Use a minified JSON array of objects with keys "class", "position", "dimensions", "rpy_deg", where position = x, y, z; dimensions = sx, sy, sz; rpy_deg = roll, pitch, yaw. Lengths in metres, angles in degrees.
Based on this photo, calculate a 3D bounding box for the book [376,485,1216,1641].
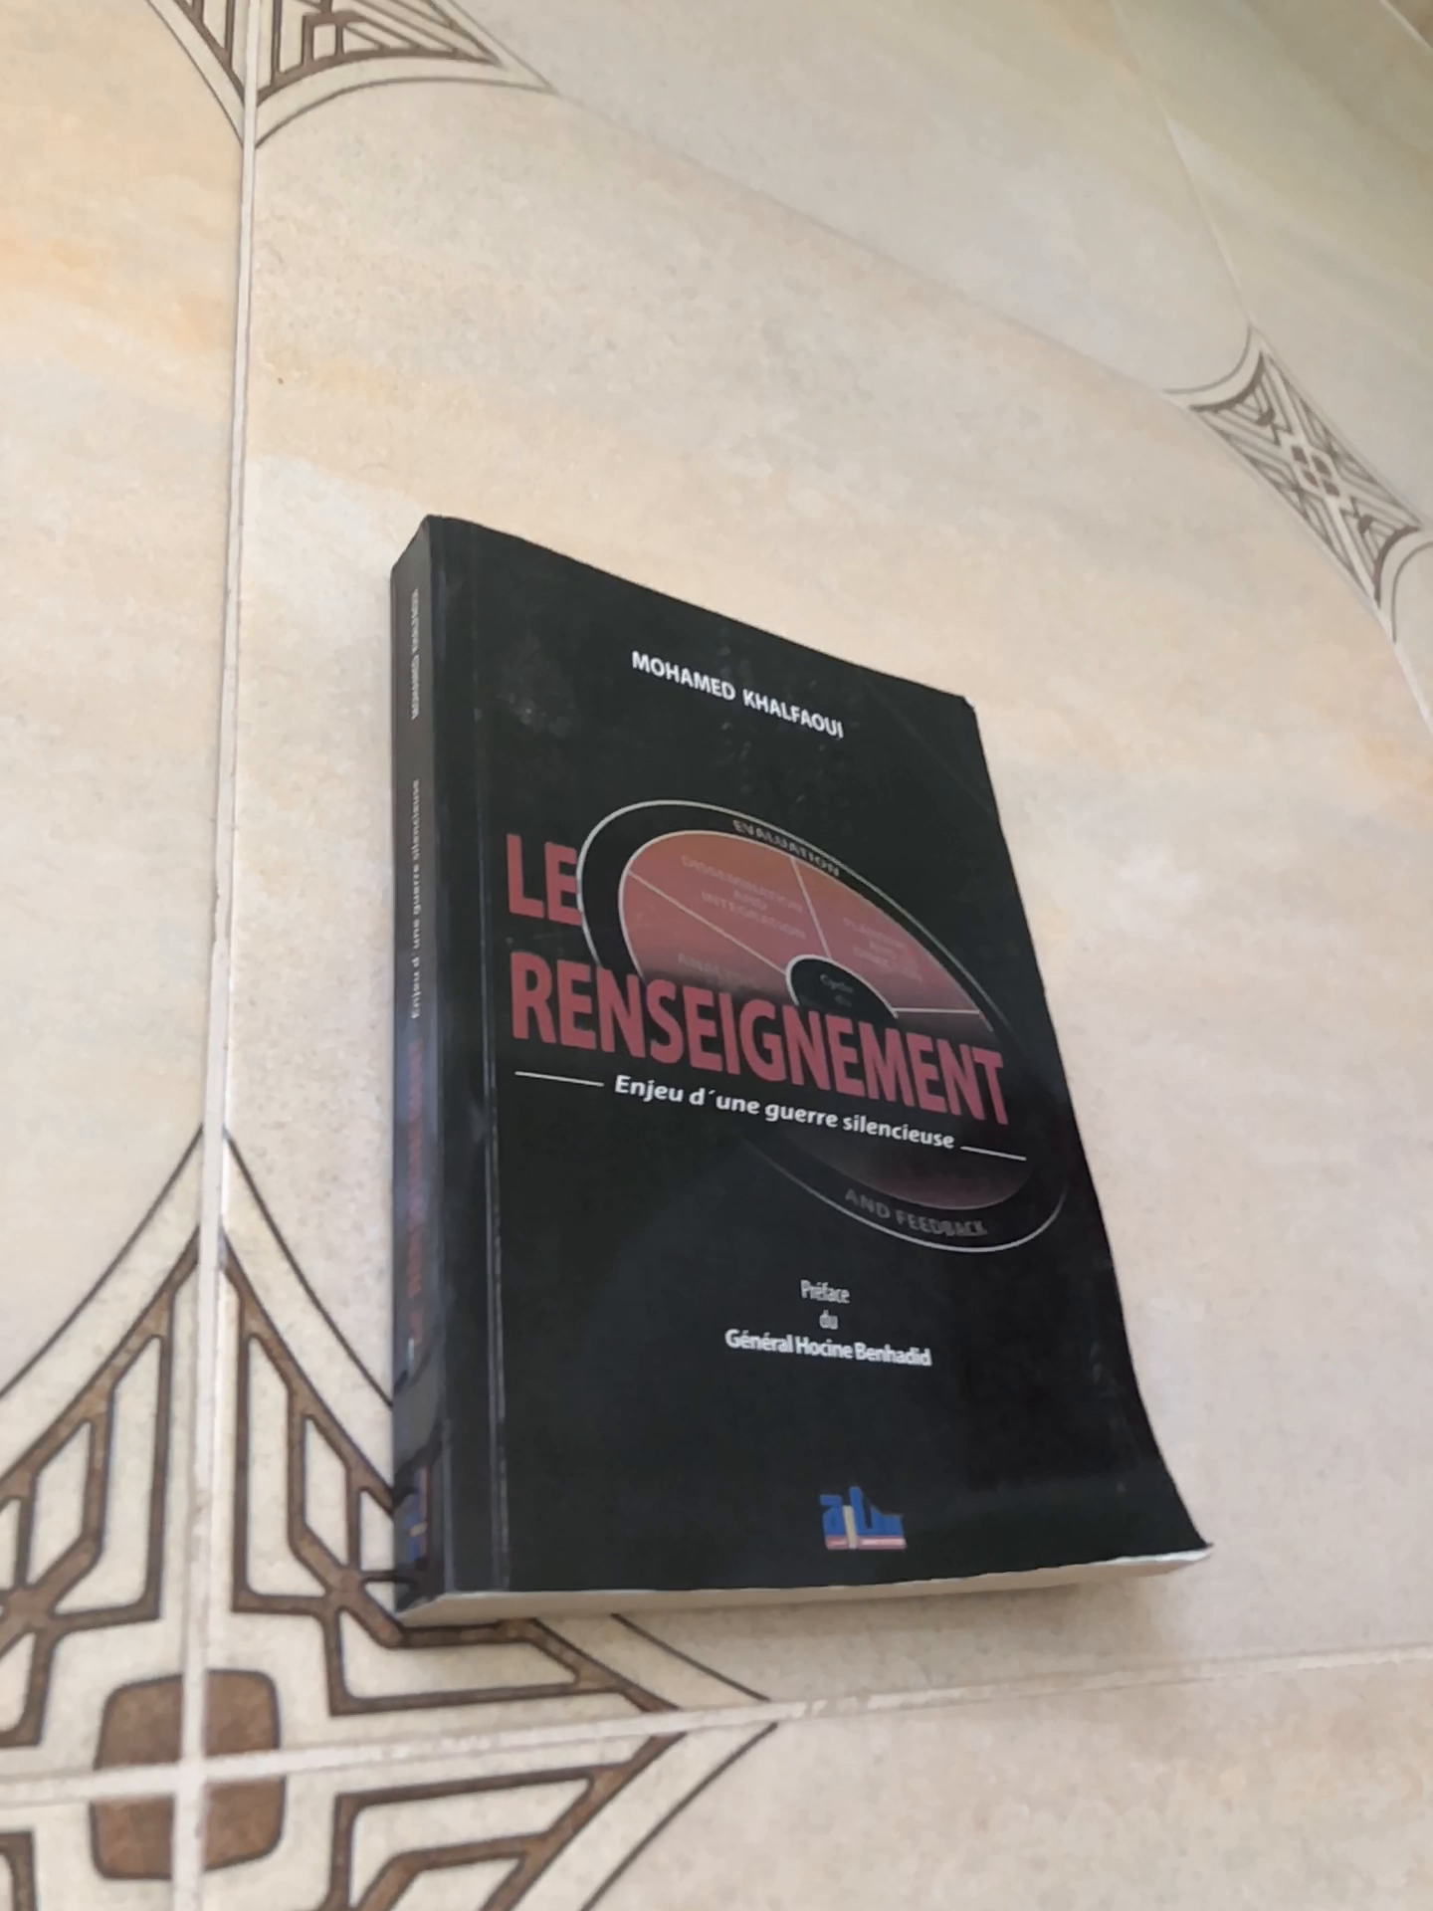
[{"class":"book","position":[0.010,0.019,0.309],"dimensions":[0.146,0.037,0.201],"rpy_deg":[13,56,-32]}]
